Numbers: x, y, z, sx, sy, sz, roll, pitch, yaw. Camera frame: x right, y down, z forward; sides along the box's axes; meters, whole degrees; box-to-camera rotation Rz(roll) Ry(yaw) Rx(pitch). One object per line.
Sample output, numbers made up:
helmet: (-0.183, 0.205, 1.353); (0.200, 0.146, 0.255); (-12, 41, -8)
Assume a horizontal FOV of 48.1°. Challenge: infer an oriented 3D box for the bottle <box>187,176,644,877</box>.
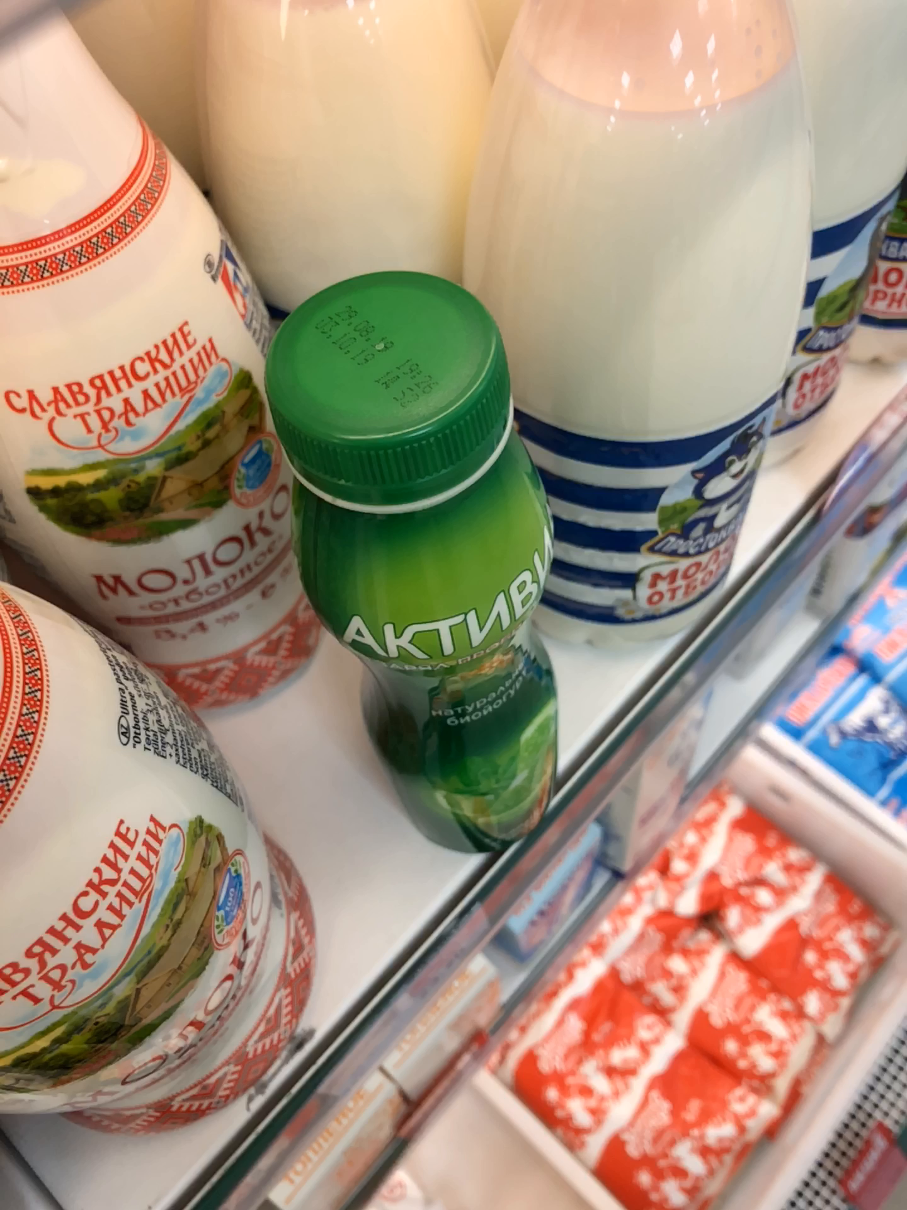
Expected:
bottle: (0.000, 0.002, 0.238); (0.053, 0.179, 0.052); (-2, 59, 4)
